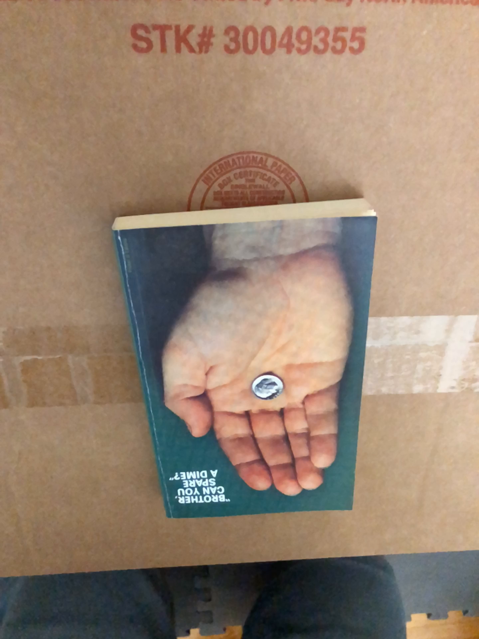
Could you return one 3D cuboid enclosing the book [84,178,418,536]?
[{"bbox_3d":[0.008,0.030,0.247,0.120,0.020,0.180,-4,122,-1],"label":"book"}]
